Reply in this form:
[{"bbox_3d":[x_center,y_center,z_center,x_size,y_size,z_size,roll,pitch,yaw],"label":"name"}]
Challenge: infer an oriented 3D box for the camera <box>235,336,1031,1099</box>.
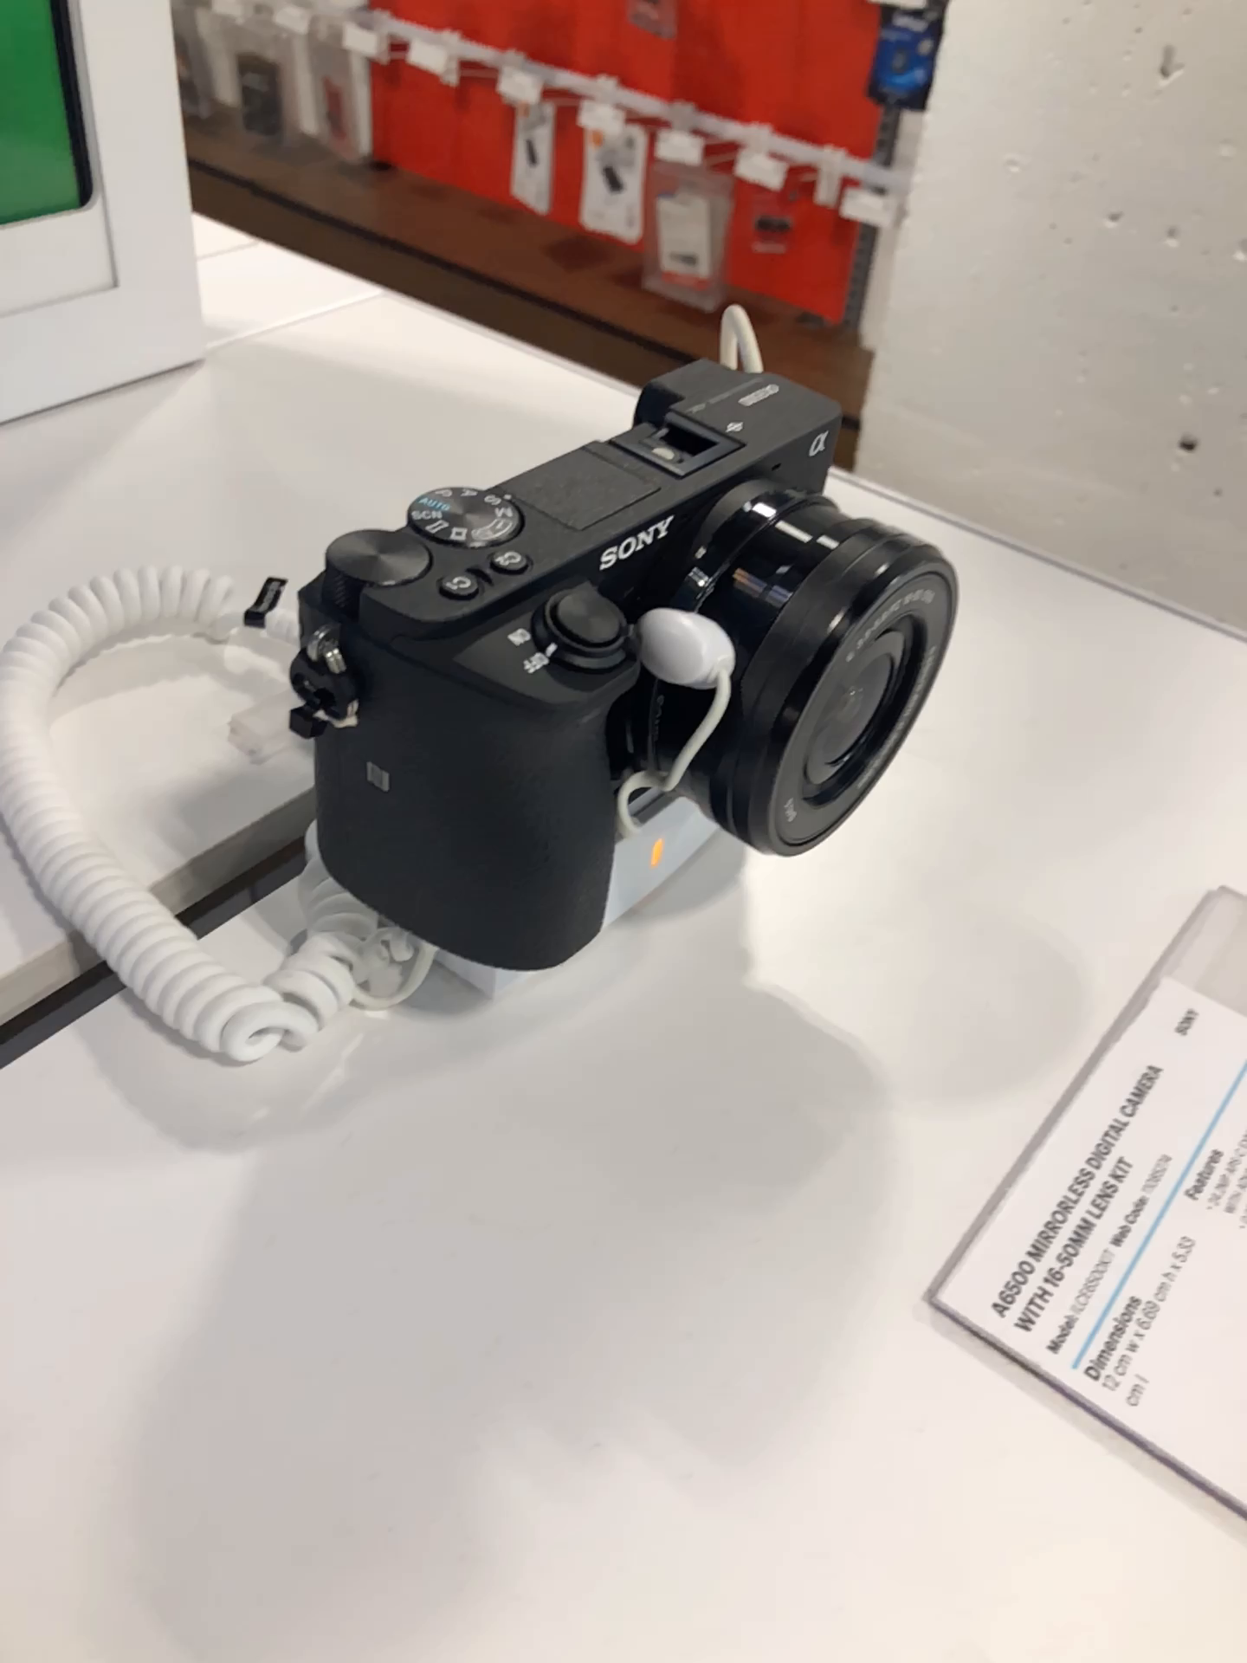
[{"bbox_3d":[0.007,-0.032,0.261,0.070,0.070,0.141,28,44,23],"label":"camera"}]
